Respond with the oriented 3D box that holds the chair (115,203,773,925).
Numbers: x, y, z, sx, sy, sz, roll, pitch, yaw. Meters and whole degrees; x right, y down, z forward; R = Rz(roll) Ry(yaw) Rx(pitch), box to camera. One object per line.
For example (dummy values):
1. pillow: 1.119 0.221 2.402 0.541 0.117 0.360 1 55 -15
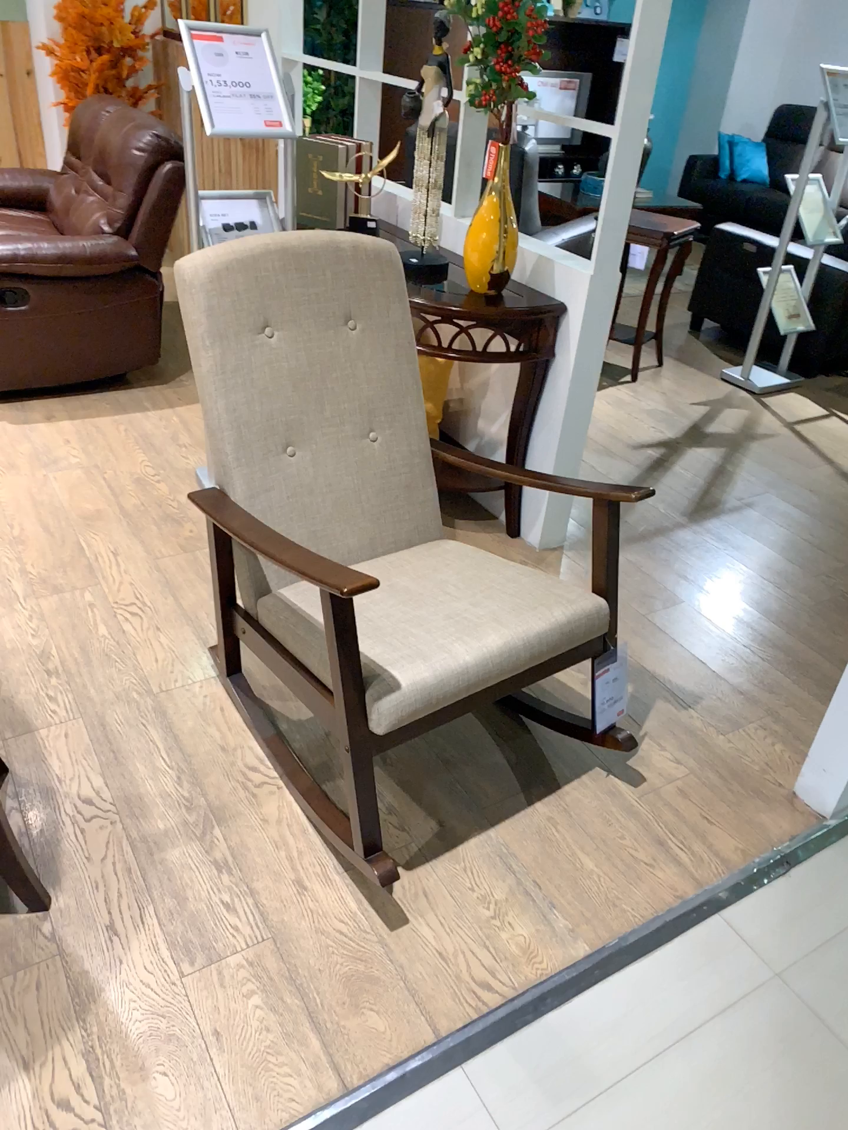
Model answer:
1. chair: -0.033 -0.091 1.693 0.731 0.976 0.842 -19 40 -34
